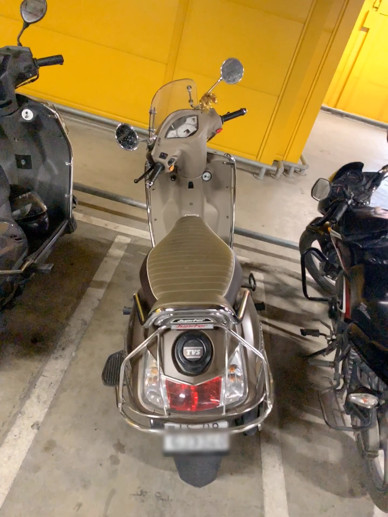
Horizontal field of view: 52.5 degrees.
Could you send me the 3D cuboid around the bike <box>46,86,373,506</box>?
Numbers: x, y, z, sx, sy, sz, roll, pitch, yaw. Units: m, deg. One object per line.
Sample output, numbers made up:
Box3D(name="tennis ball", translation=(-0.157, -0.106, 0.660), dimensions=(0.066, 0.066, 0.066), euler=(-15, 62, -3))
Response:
Box3D(name="bike", translation=(-0.141, -0.014, 1.694), dimensions=(0.603, 1.027, 1.563), euler=(9, 31, -13))
